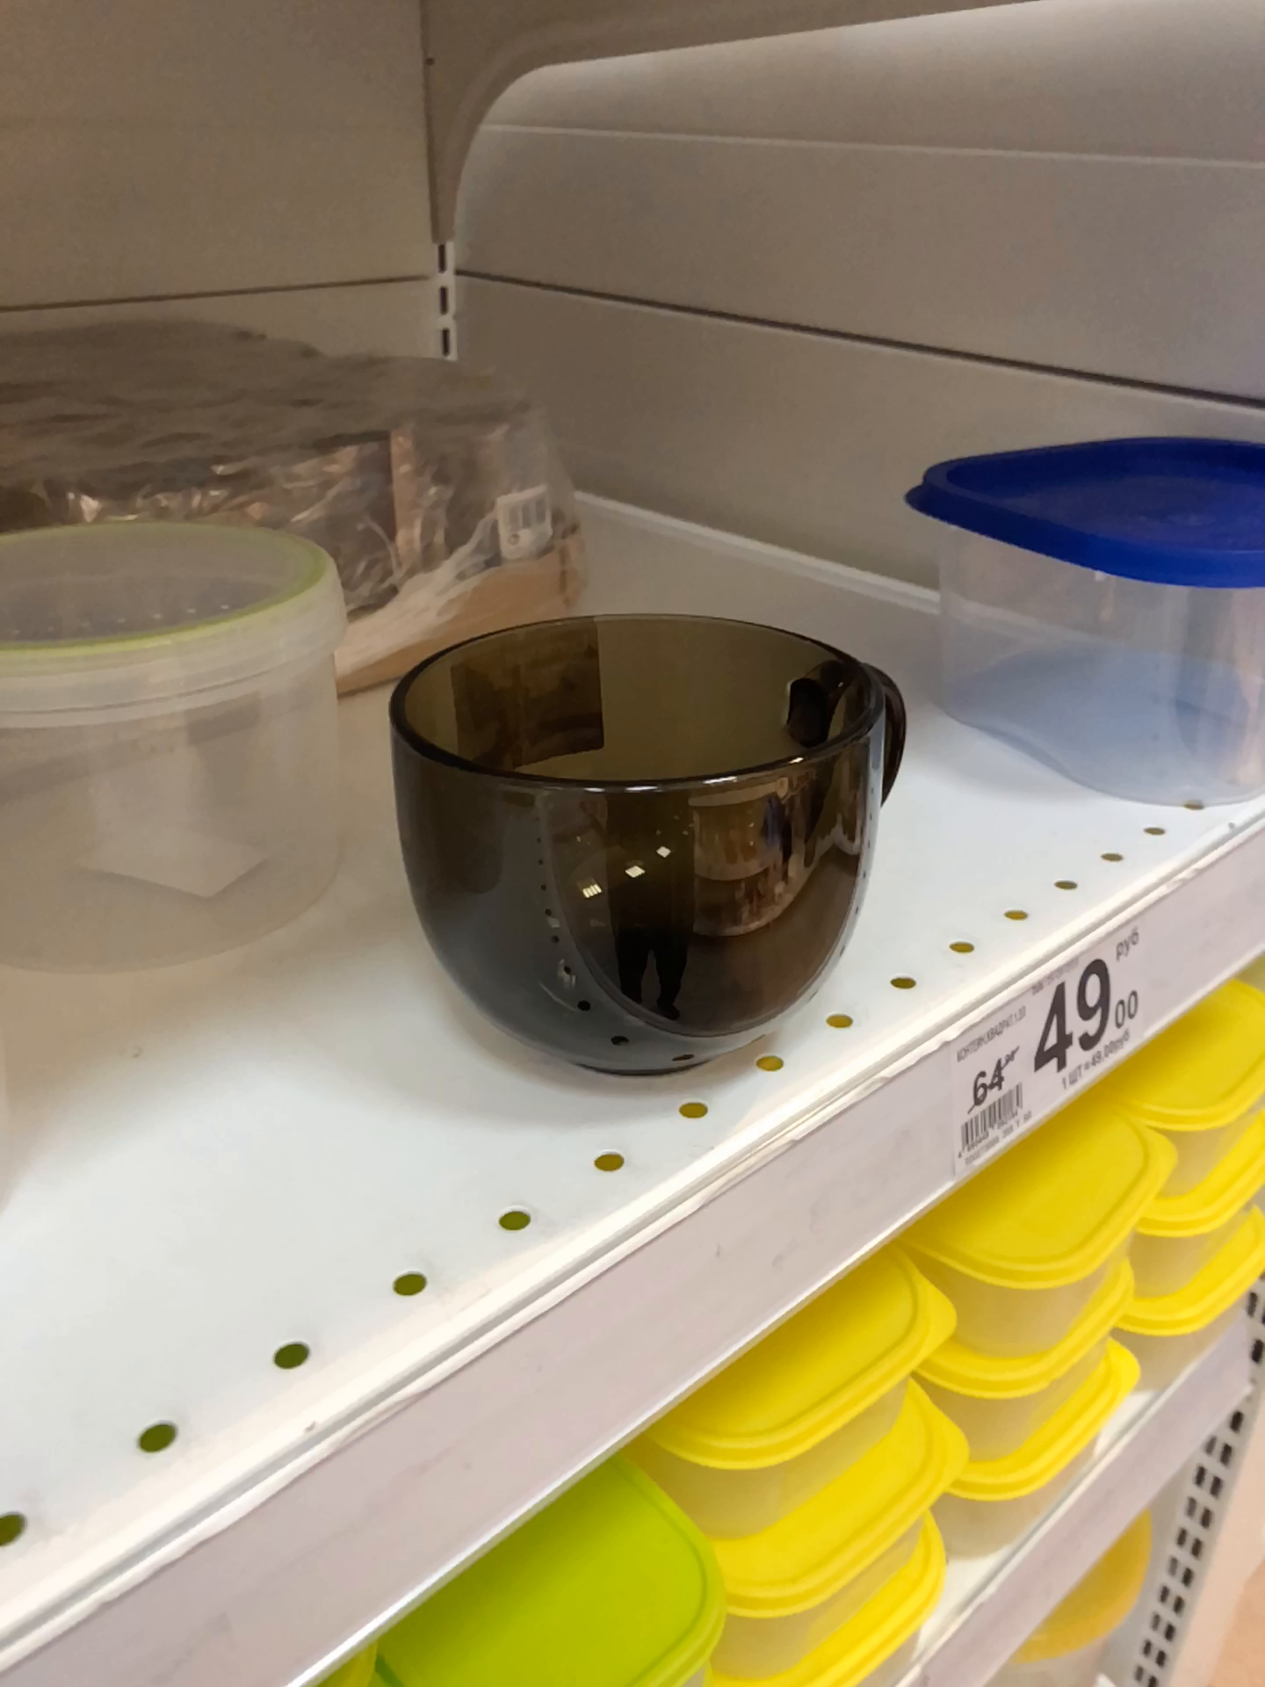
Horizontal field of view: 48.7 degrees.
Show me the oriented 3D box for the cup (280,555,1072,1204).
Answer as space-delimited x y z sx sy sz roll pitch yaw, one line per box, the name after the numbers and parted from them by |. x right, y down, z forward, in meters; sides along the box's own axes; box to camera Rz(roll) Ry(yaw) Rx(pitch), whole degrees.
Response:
0.012 -0.006 0.315 0.105 0.071 0.136 26 37 38 | cup
